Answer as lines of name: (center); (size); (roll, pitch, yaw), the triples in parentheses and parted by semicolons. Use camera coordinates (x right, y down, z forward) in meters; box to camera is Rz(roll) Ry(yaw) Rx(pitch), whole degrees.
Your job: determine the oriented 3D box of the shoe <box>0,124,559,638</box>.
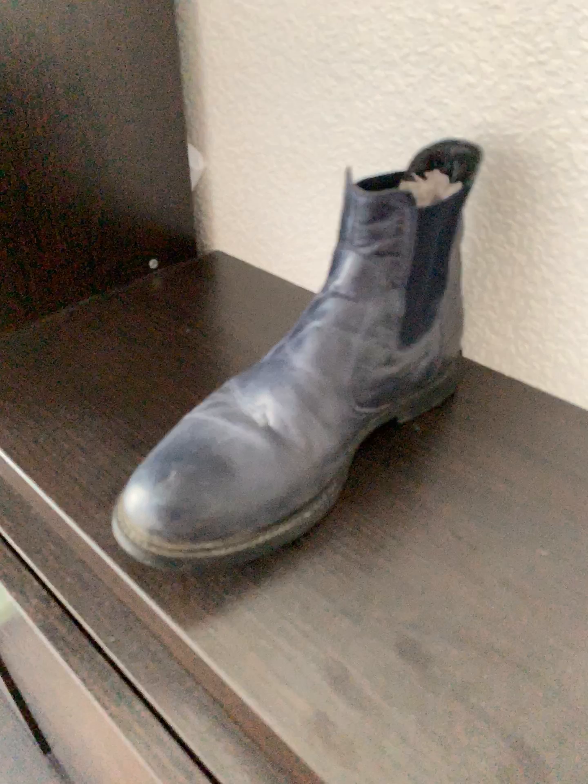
shoe: (0.016, -0.036, 0.352); (0.110, 0.159, 0.301); (30, 47, 33)
